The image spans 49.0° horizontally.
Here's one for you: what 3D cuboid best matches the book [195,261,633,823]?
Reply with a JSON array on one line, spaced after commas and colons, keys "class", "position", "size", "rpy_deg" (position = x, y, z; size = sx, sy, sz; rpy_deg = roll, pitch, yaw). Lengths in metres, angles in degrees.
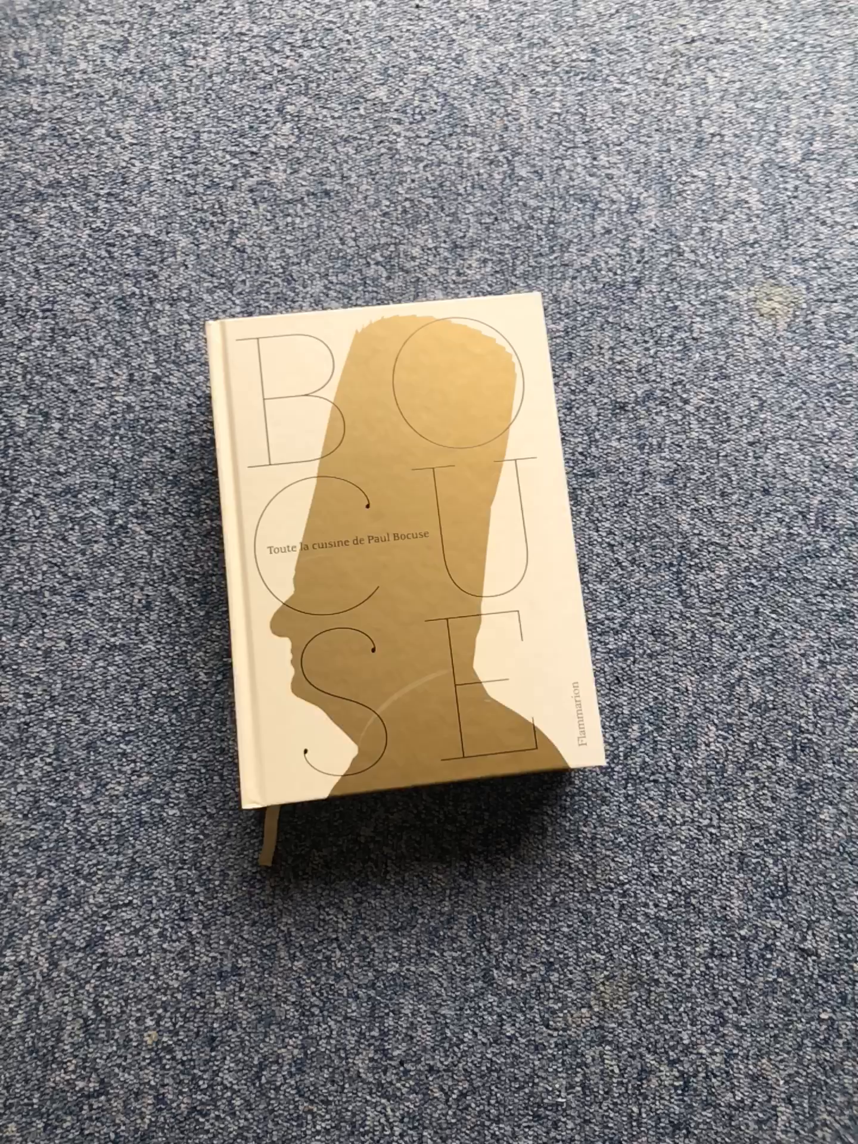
[{"class": "book", "position": [-0.014, -0.018, 0.526], "size": [0.200, 0.080, 0.280], "rpy_deg": [-5, 79, -4]}]
